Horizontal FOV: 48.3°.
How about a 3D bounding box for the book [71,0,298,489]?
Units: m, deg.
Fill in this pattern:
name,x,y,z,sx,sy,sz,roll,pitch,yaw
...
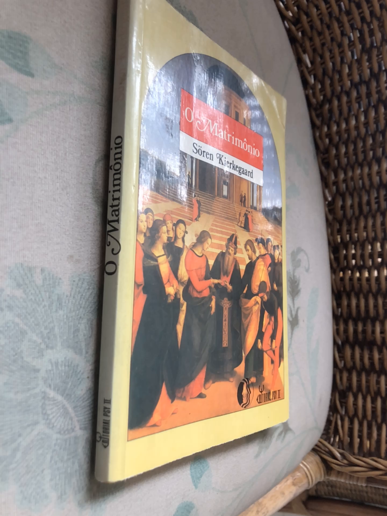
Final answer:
name,x,y,z,sx,sy,sz,roll,pitch,yaw
book,0.011,-0.011,0.221,0.141,0.020,0.200,11,78,-50
